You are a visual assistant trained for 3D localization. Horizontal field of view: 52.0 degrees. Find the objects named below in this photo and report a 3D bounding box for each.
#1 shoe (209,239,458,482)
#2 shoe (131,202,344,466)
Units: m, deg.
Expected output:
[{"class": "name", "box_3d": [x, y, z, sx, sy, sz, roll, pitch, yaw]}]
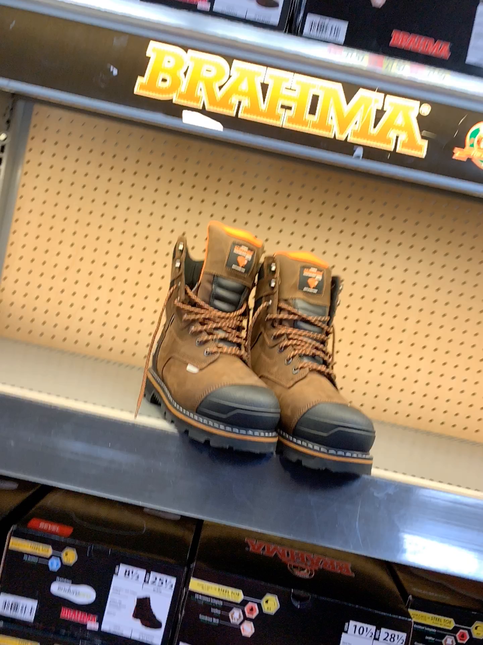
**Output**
[{"class": "shoe", "box_3d": [0.099, 0.027, 0.697, 0.134, 0.260, 0.318, 11, 4, -25]}, {"class": "shoe", "box_3d": [-0.032, -0.001, 0.696, 0.136, 0.280, 0.313, 11, 4, -24]}]
